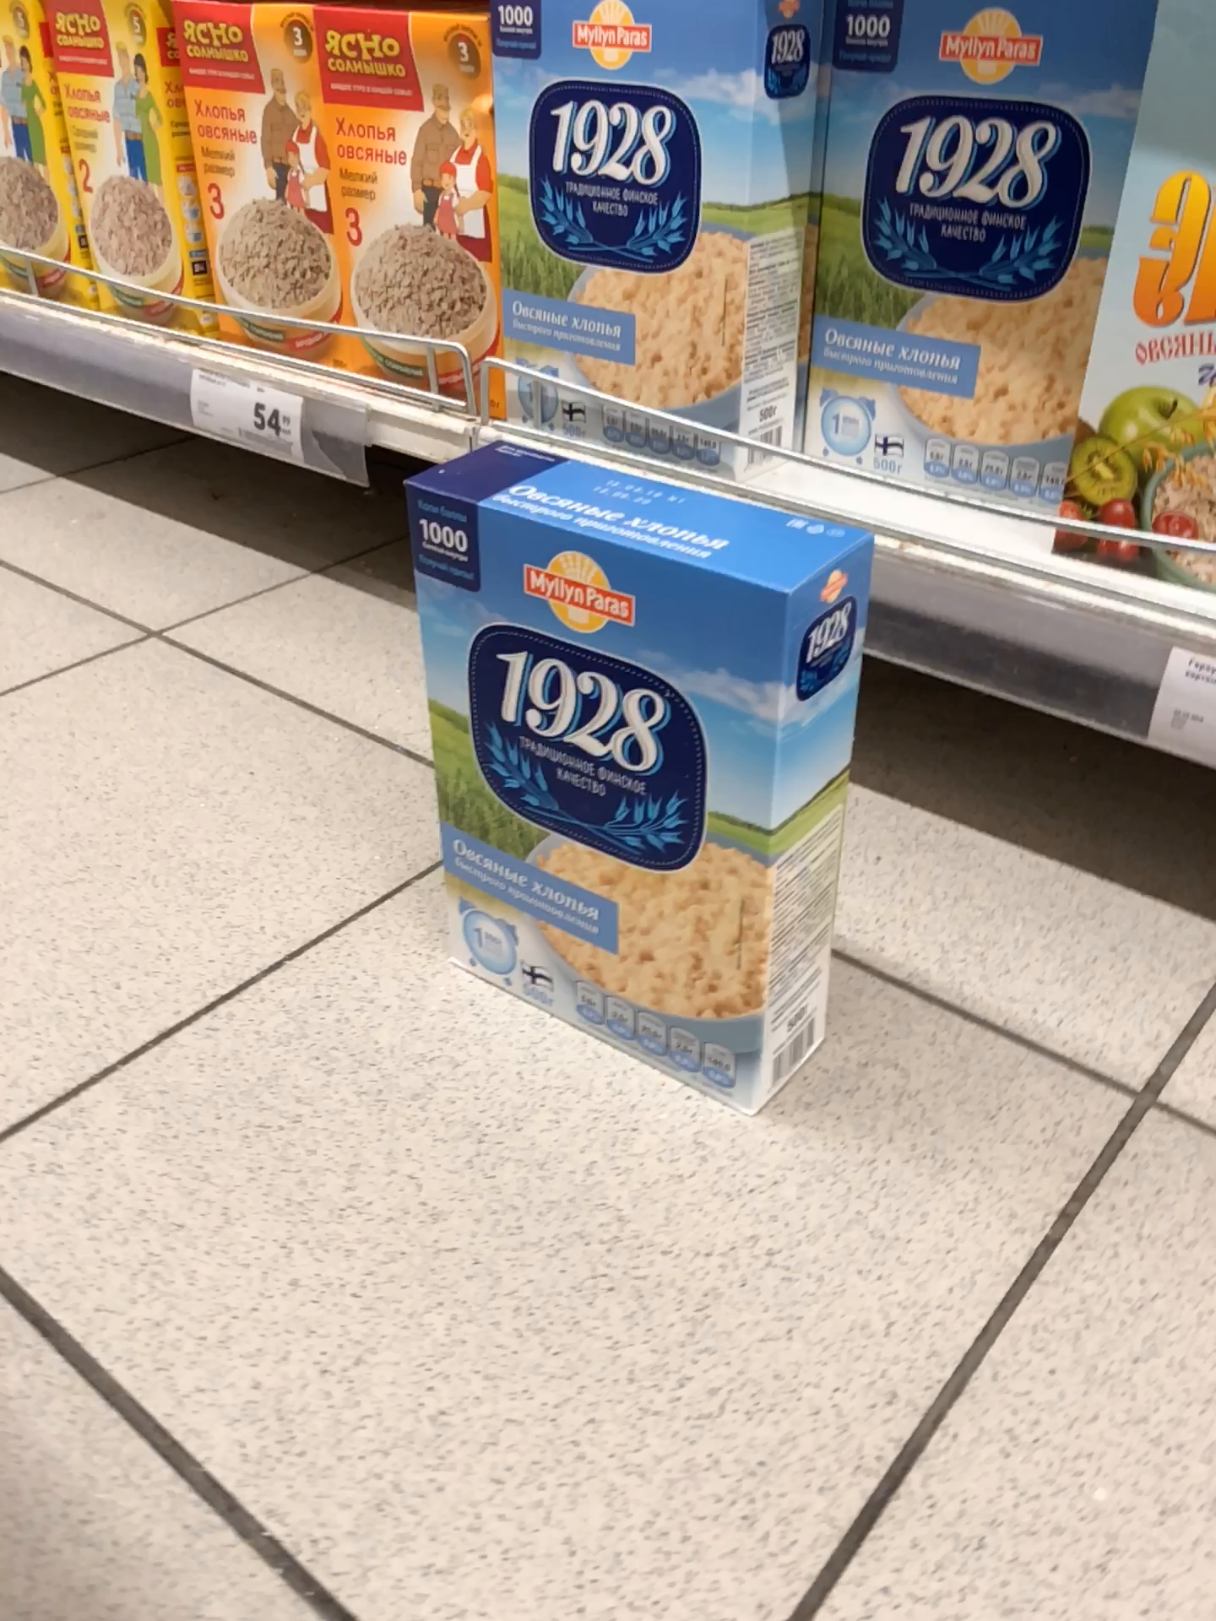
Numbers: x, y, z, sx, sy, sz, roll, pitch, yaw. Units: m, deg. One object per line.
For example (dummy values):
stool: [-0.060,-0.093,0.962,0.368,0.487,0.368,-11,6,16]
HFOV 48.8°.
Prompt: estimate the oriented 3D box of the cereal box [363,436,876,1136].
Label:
cereal box: [0.001,-0.009,0.463,0.150,0.199,0.060,22,40,30]
